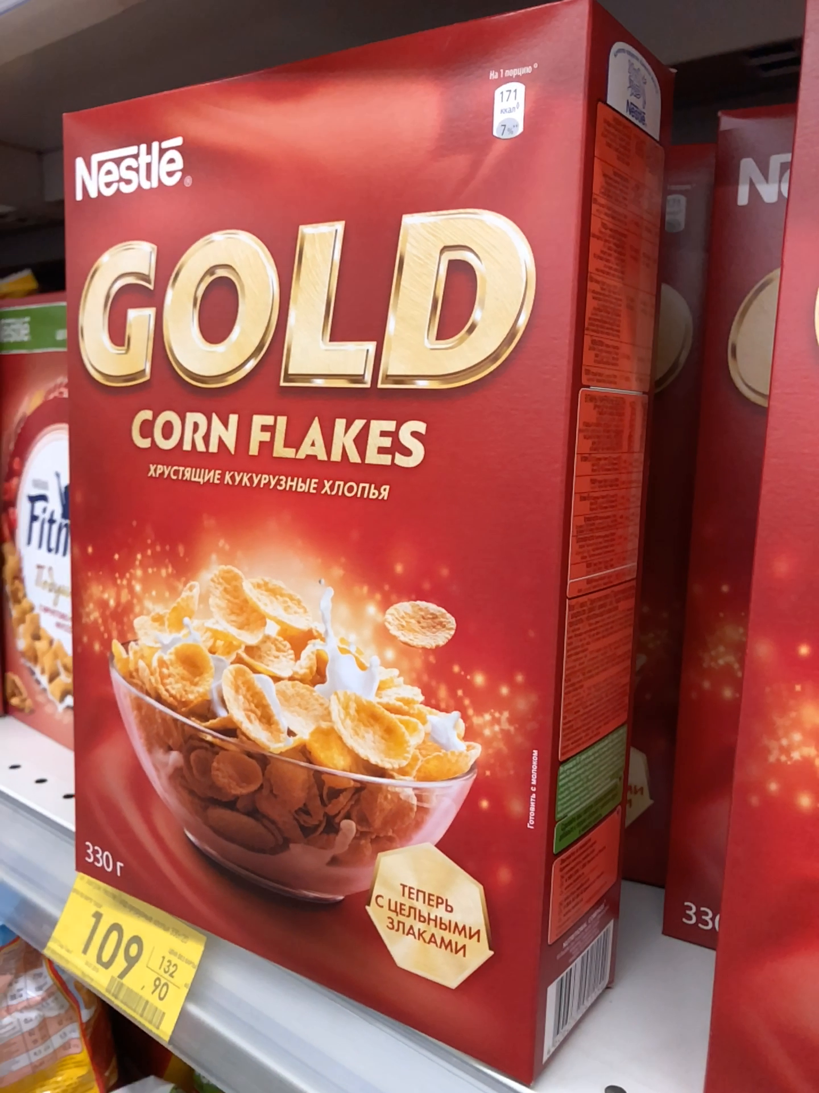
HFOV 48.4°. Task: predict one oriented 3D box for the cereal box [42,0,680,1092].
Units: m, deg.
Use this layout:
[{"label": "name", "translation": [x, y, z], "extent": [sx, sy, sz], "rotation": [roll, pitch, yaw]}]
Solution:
[{"label": "cereal box", "translation": [-0.029, -0.007, 0.298], "extent": [0.200, 0.279, 0.060], "rotation": [7, 9, 33]}]
